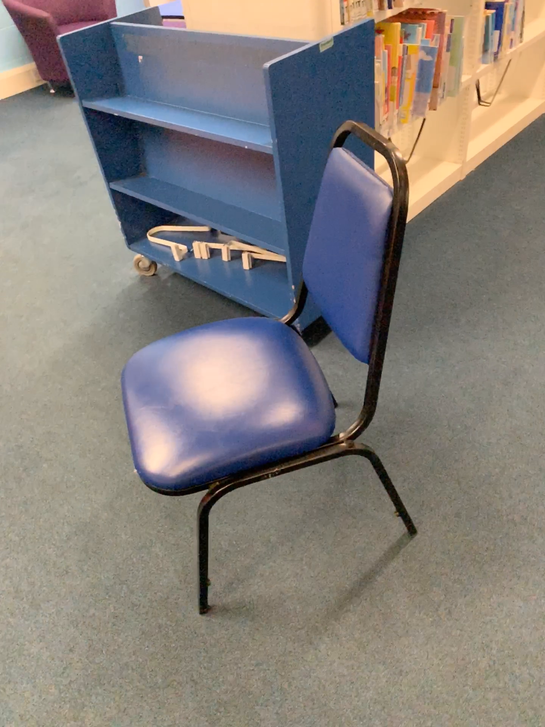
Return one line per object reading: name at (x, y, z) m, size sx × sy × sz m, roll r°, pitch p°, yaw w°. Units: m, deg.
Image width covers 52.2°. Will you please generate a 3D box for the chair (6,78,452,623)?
chair at (-0.067, -0.007, 1.192) m, size 0.580 × 0.881 × 0.565 m, roll -17°, pitch 42°, yaw -8°
